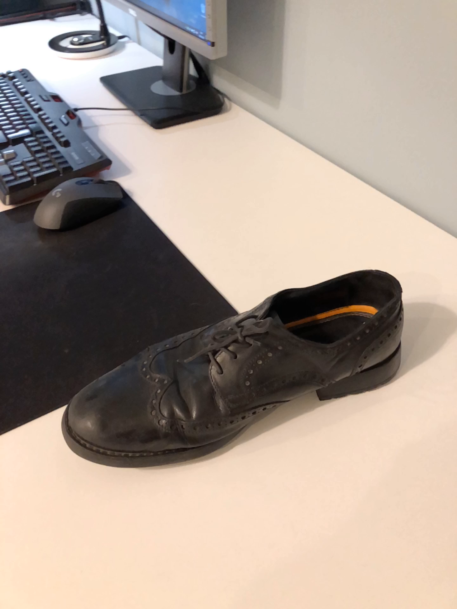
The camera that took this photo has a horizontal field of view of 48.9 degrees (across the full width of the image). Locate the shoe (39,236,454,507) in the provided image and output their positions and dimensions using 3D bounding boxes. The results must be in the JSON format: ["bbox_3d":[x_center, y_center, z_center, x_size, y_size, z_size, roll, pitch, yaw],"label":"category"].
[{"bbox_3d":[0.015,0.043,0.433,0.313,0.079,0.120,-16,45,-15],"label":"shoe"}]
